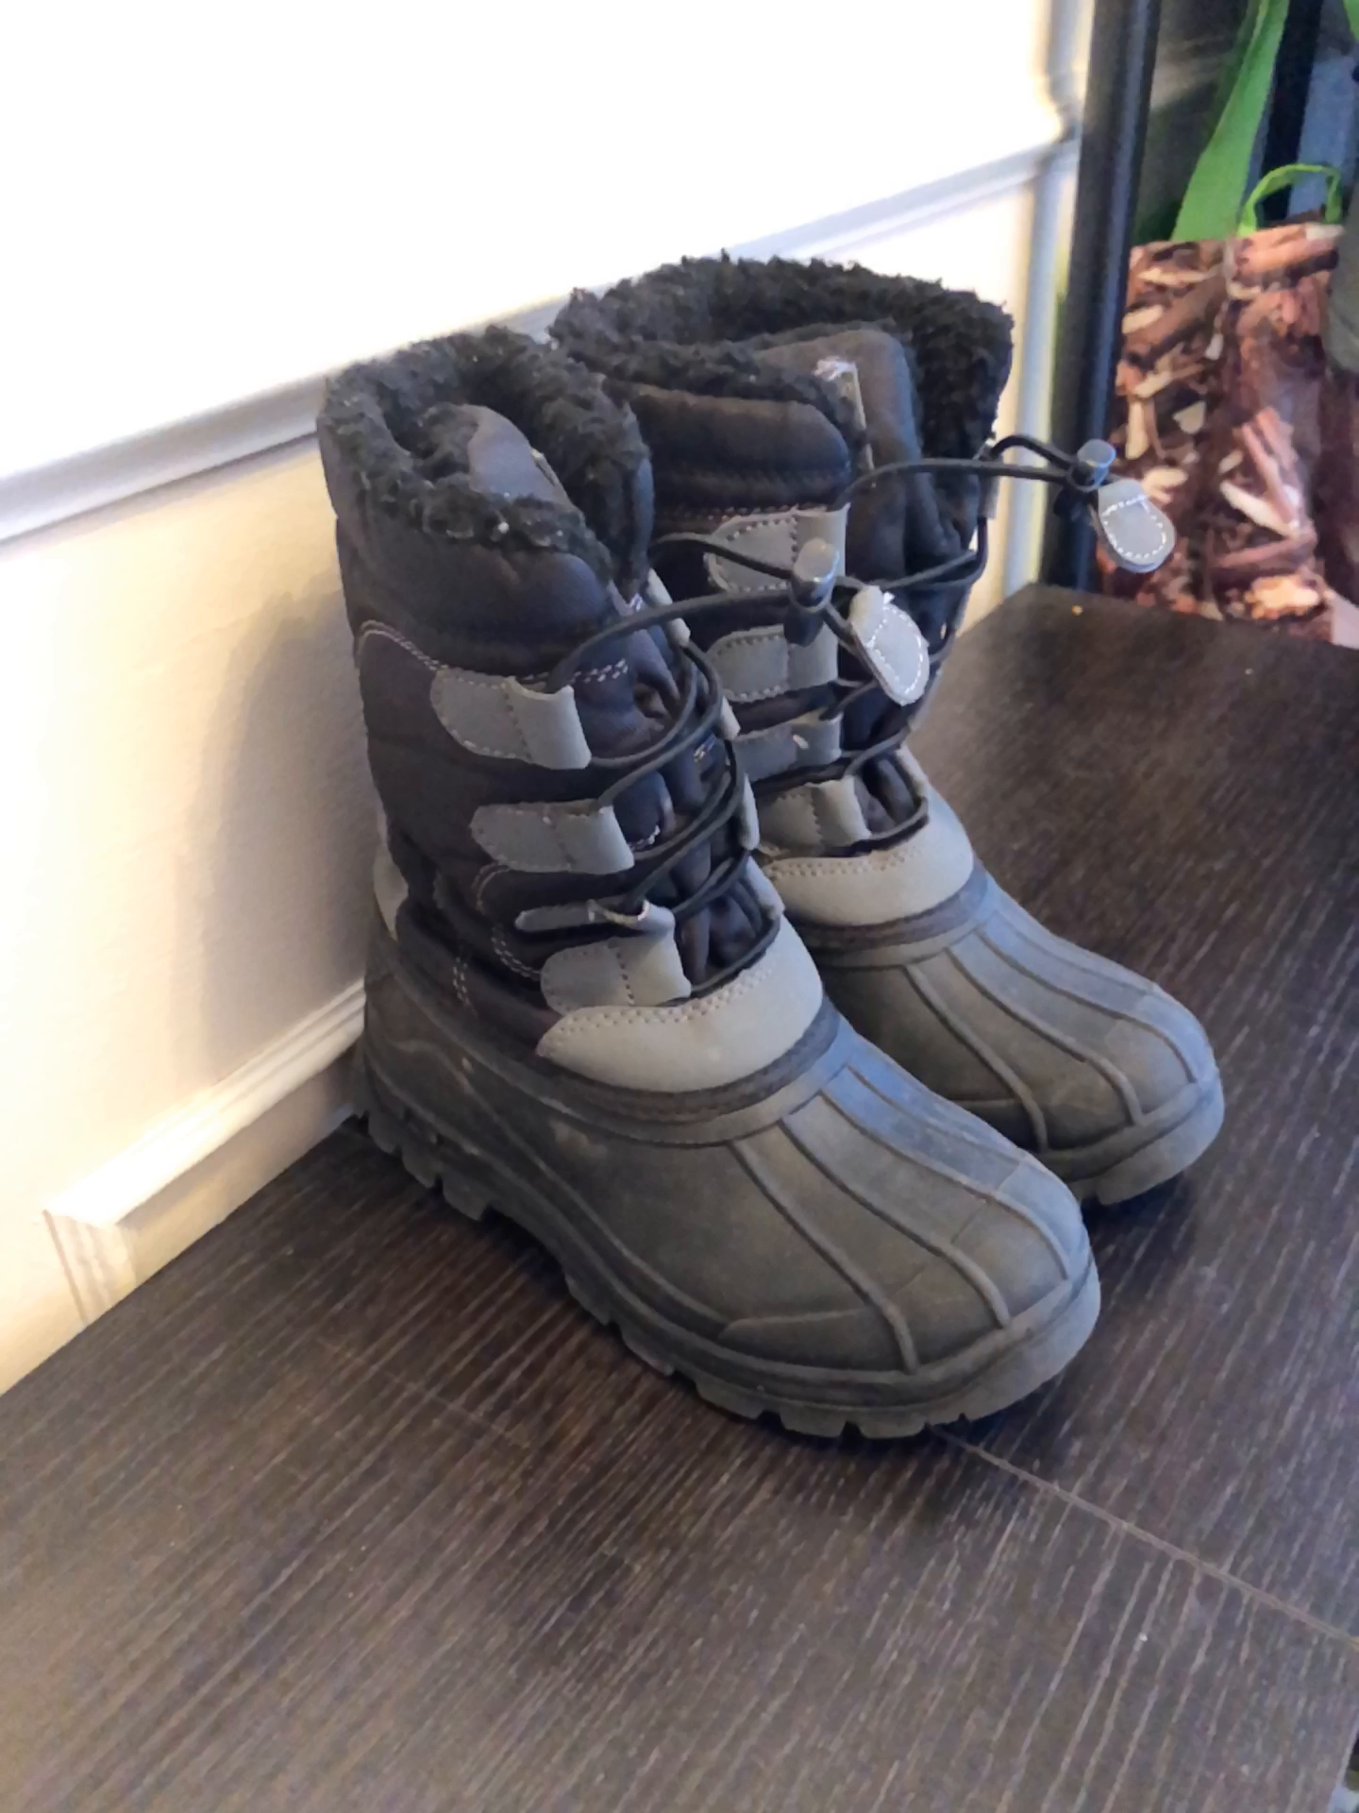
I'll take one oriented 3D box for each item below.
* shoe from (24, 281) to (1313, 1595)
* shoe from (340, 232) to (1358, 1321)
[{"bbox_3d":[-0.009,-0.008,0.332,0.221,0.209,0.100,20,39,31],"label":"shoe"},{"bbox_3d":[0.041,-0.046,0.390,0.221,0.209,0.100,20,39,31],"label":"shoe"}]
